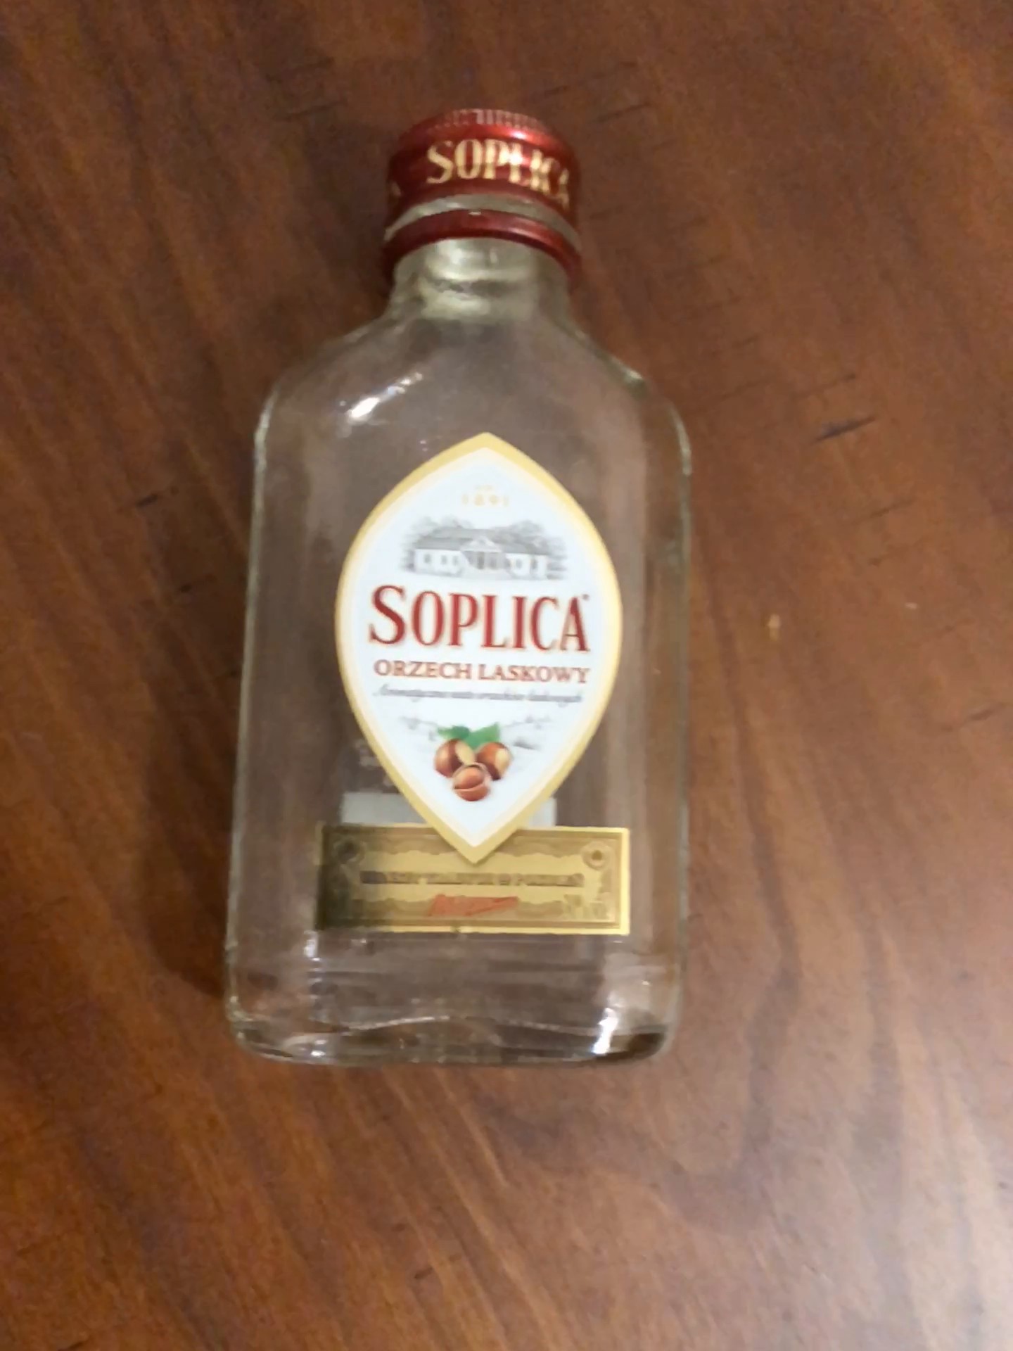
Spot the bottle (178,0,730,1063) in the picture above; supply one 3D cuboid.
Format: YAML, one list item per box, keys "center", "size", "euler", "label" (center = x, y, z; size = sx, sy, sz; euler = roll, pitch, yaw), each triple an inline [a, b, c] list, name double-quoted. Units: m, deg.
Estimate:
- center: [-0.006, -0.023, 0.172]
  size: [0.070, 0.030, 0.150]
  euler: [2, 81, -7]
  label: "bottle"
